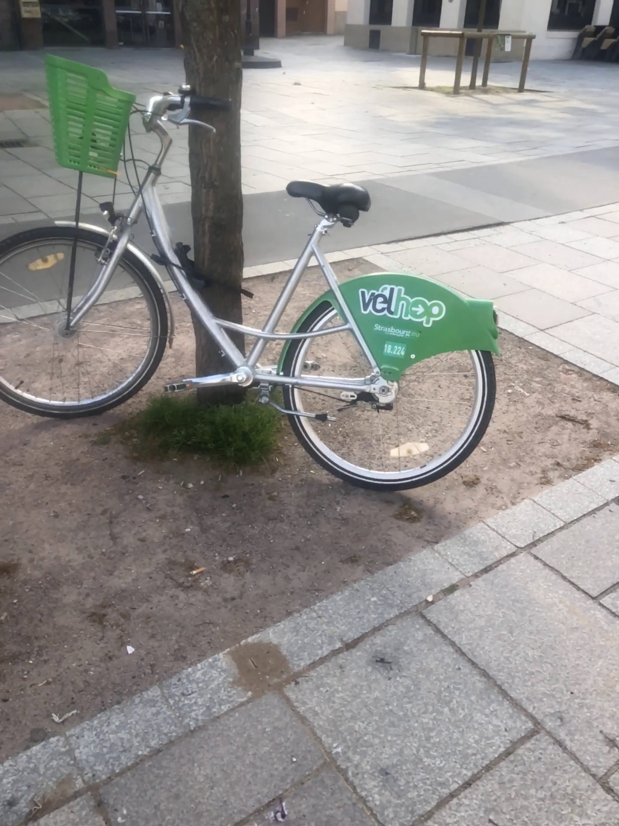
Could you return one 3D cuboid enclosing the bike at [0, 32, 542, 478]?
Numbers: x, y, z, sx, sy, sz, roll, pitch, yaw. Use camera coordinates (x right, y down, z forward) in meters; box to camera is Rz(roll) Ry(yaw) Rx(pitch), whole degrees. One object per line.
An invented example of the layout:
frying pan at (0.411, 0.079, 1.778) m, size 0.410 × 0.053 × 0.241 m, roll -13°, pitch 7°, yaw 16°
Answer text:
bike at (-0.231, -0.451, 2.144) m, size 1.718 × 1.114 × 0.313 m, roll 6°, pitch 30°, yaw 0°
